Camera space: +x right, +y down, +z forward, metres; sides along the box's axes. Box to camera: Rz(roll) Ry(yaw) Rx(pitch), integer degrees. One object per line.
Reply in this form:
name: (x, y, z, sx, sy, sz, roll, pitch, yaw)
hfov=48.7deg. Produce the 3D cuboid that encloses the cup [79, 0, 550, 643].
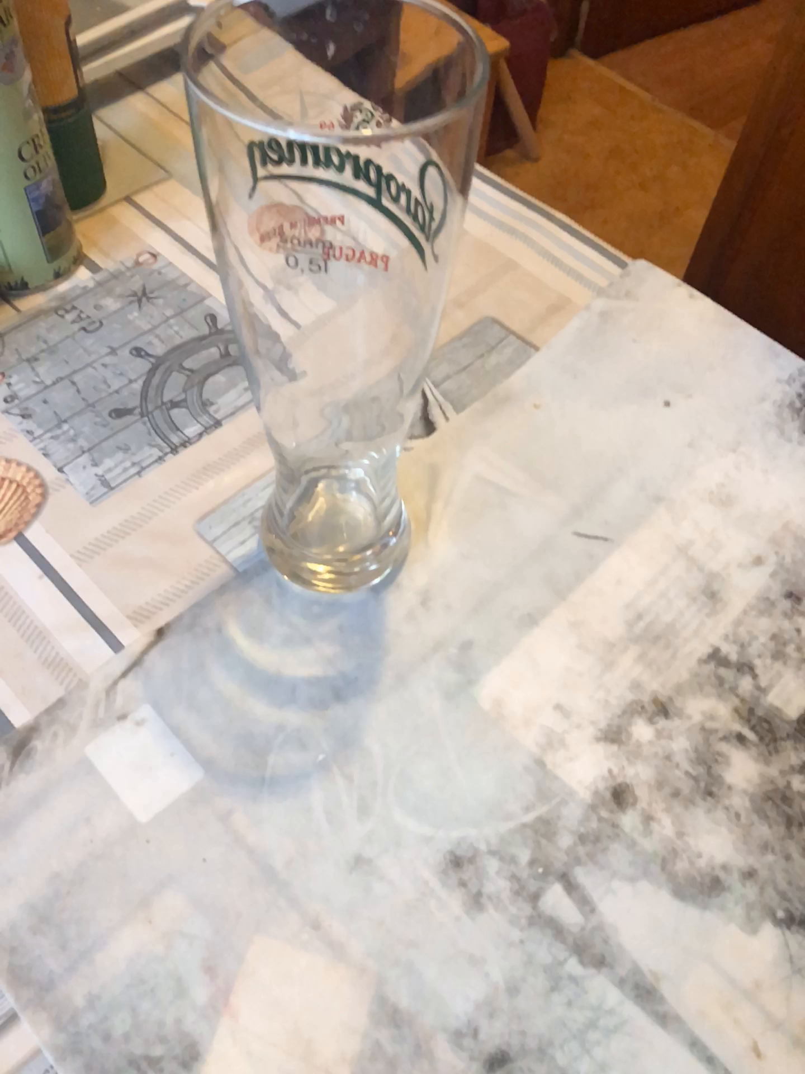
cup: (-0.024, -0.065, 0.308, 0.088, 0.192, 0.099, 19, 56, 9)
